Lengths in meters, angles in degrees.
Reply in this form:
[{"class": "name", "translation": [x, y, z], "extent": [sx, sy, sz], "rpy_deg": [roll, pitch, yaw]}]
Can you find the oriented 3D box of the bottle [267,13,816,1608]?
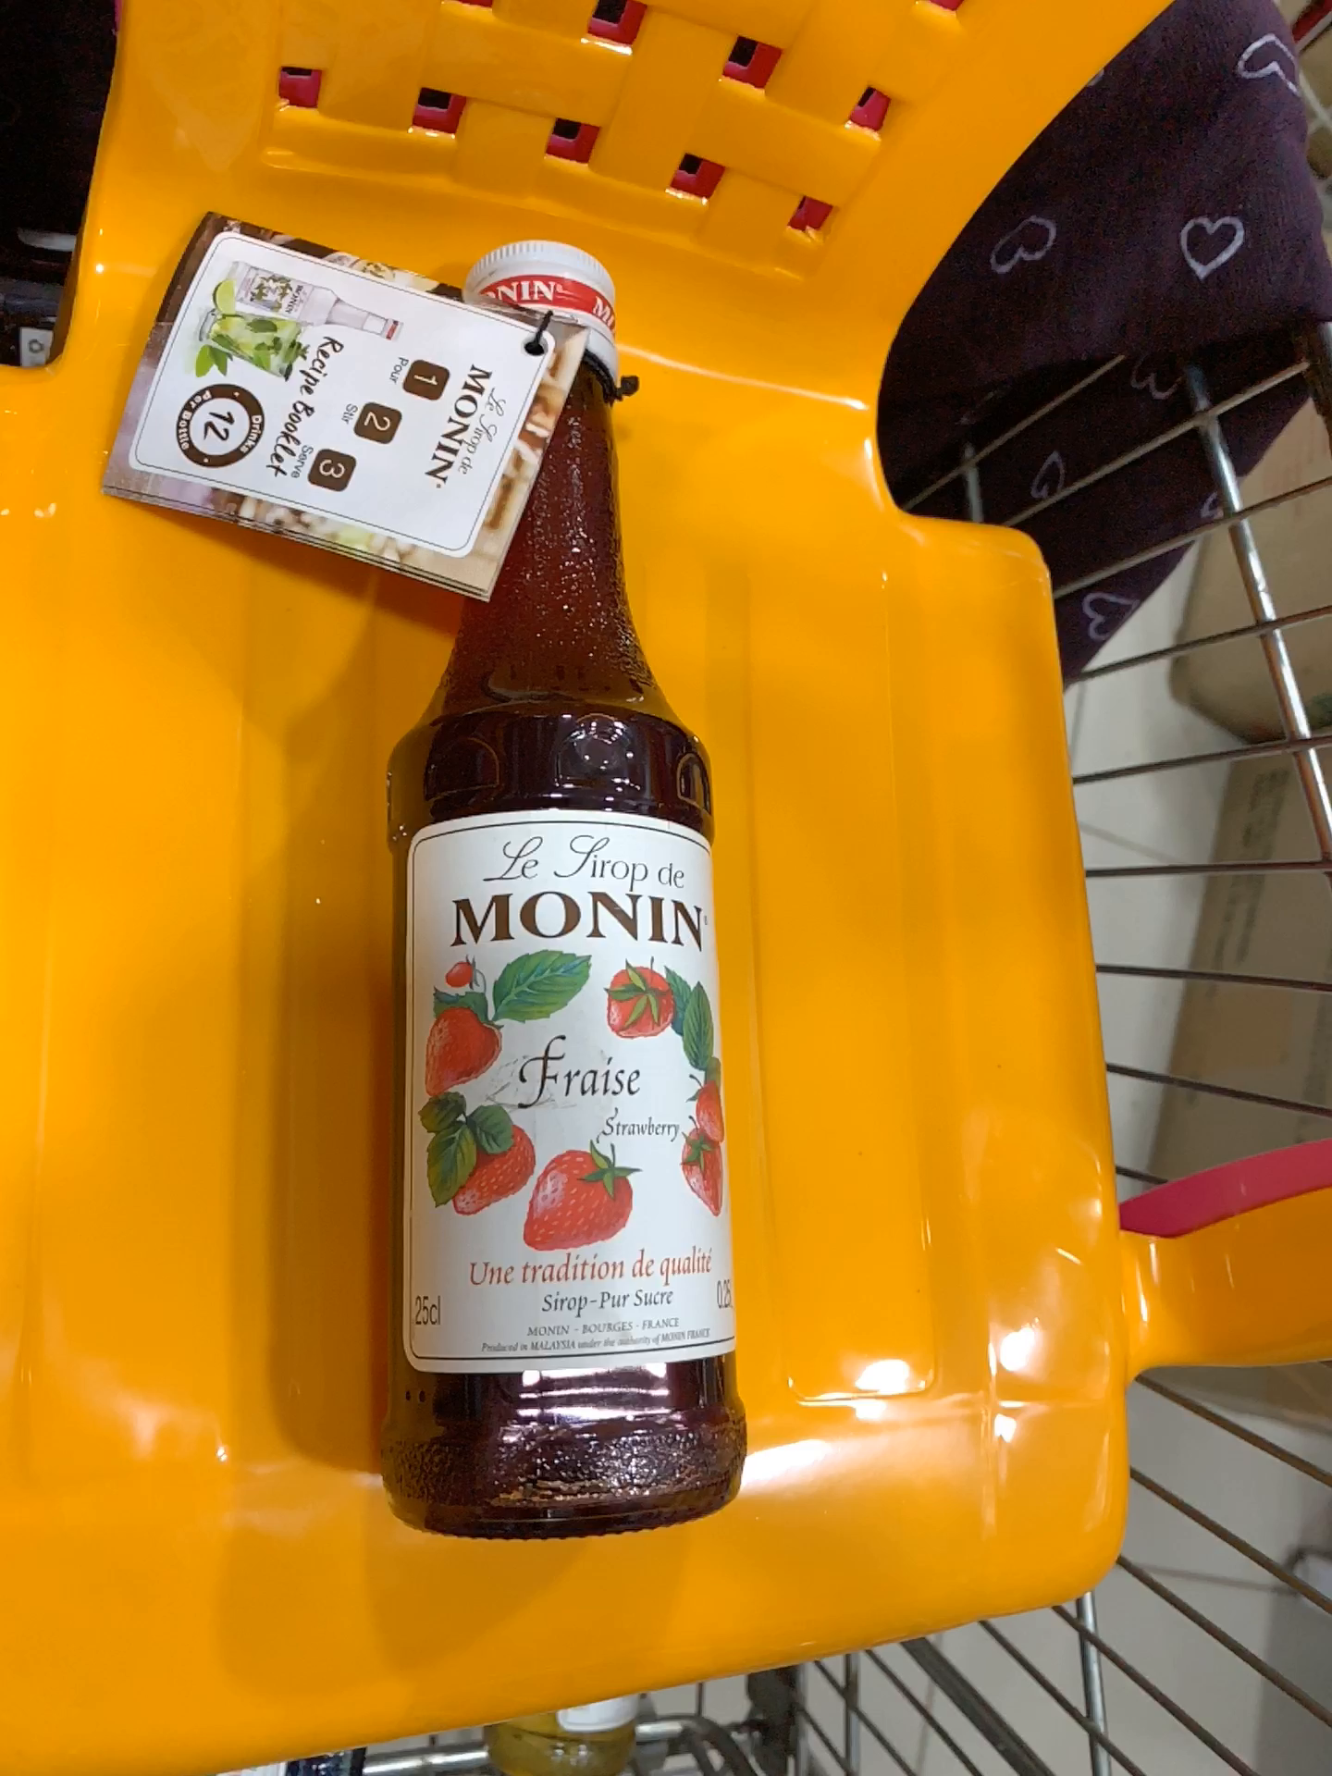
[{"class": "bottle", "translation": [-0.026, -0.019, 0.225], "extent": [0.060, 0.060, 0.230], "rpy_deg": [5, 71, -23]}]
